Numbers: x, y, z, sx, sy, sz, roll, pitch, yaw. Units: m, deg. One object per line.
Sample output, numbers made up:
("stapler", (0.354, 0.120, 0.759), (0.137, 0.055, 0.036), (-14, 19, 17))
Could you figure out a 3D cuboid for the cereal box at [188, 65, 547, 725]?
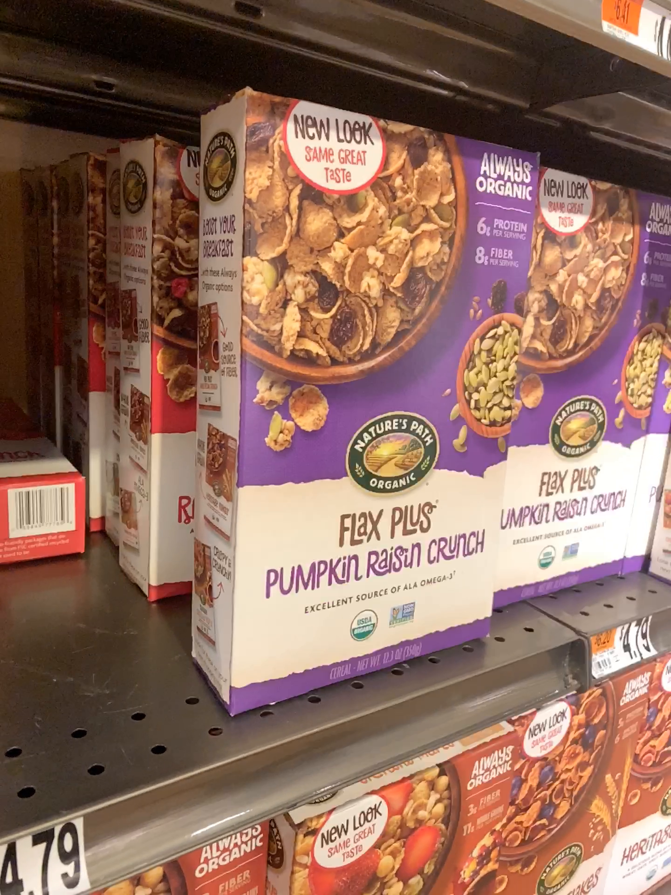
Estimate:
("cereal box", (0.017, -0.020, 0.348), (0.170, 0.269, 0.050), (-4, 12, -34))
